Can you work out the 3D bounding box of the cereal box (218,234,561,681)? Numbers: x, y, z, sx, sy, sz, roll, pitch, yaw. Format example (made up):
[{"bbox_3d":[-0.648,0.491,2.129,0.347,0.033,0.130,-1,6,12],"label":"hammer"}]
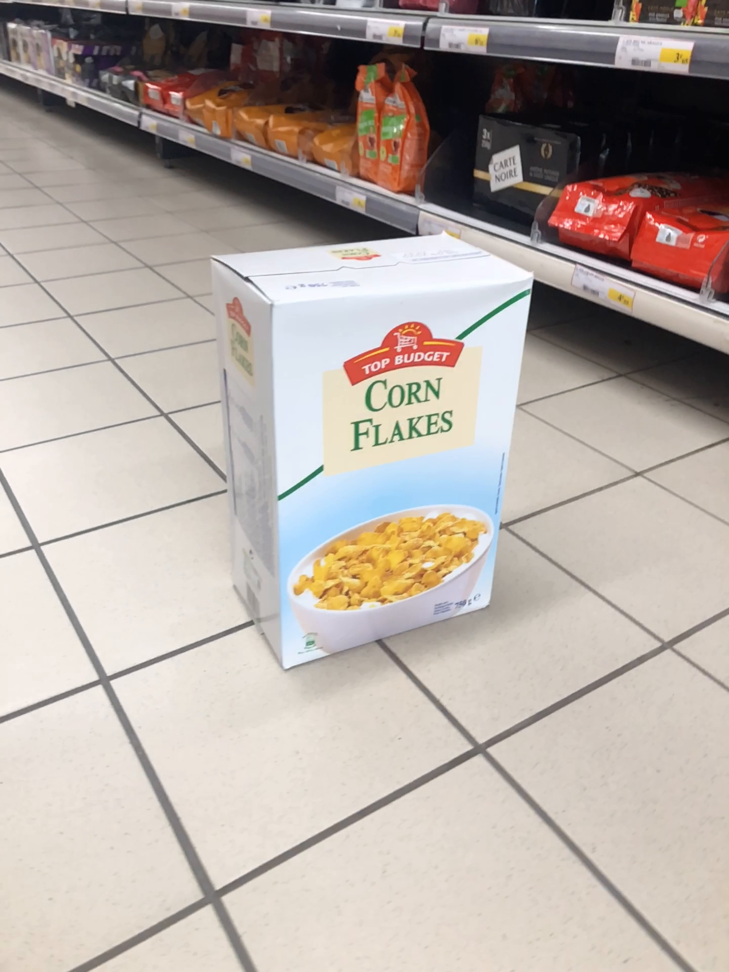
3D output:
[{"bbox_3d":[0.009,-0.026,0.614,0.201,0.288,0.120,-12,33,-24],"label":"cereal box"}]
